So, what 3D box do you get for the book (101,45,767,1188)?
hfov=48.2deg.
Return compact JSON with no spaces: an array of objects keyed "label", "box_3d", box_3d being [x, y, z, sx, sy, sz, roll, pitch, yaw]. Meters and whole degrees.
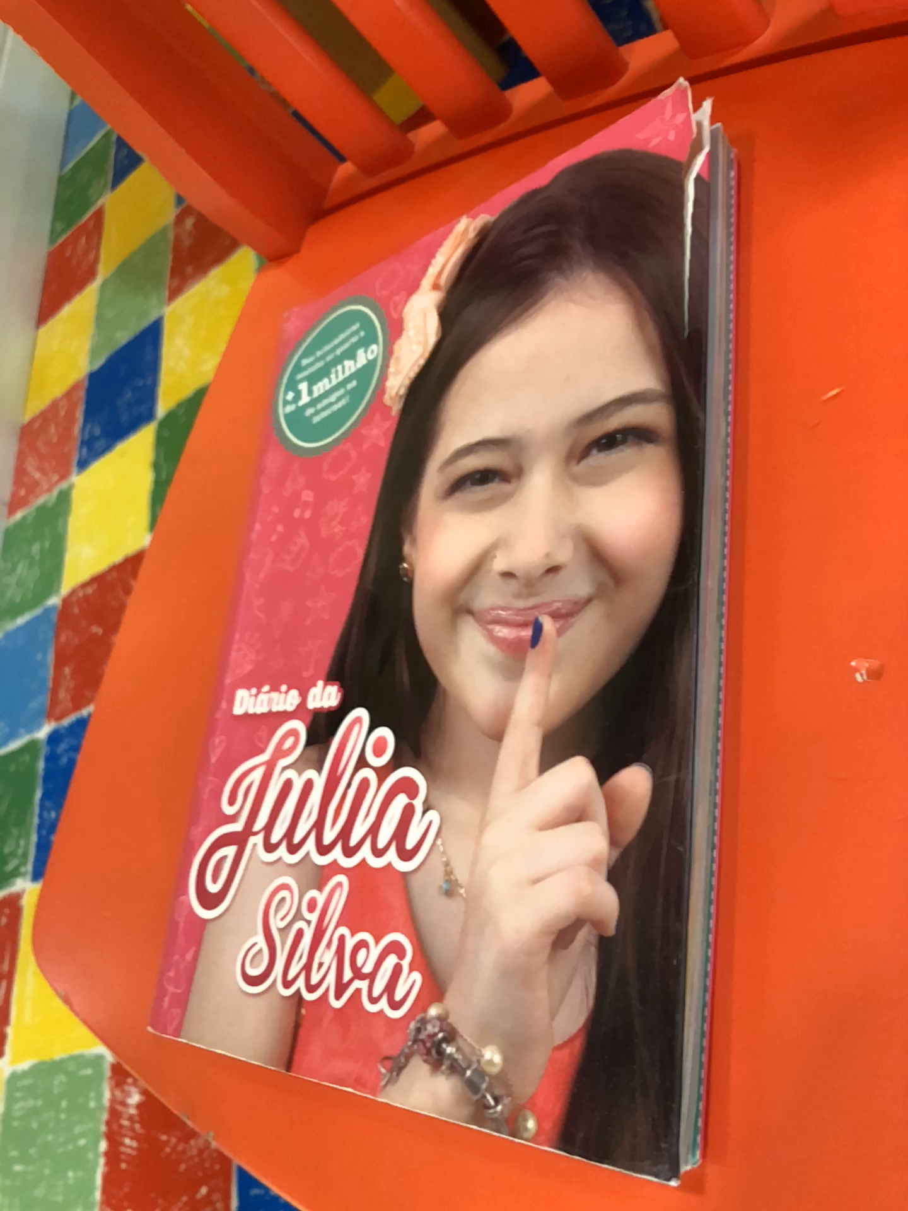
[{"label":"book","box_3d":[-0.009,-0.007,0.264,0.171,0.020,0.241,-8,67,40]}]
